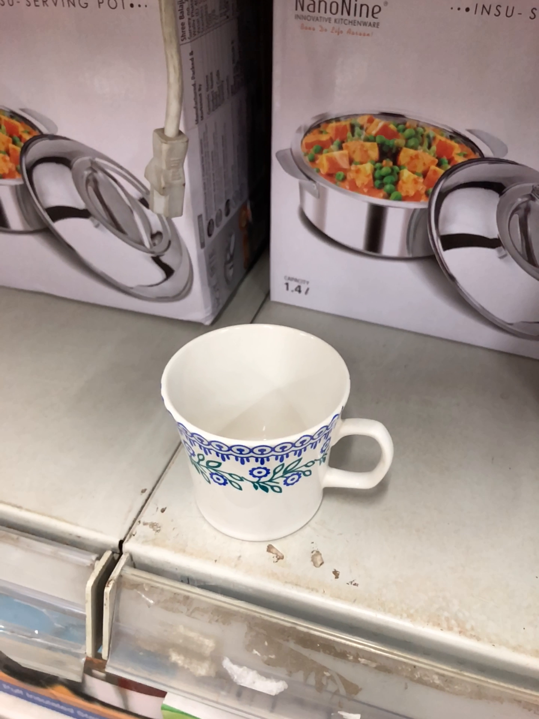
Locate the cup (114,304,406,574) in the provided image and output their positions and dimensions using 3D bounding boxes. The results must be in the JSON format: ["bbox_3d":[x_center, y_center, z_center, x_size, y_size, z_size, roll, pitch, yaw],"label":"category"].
[{"bbox_3d":[0.001,0.031,0.254,0.100,0.070,0.071,7,39,9],"label":"cup"}]
